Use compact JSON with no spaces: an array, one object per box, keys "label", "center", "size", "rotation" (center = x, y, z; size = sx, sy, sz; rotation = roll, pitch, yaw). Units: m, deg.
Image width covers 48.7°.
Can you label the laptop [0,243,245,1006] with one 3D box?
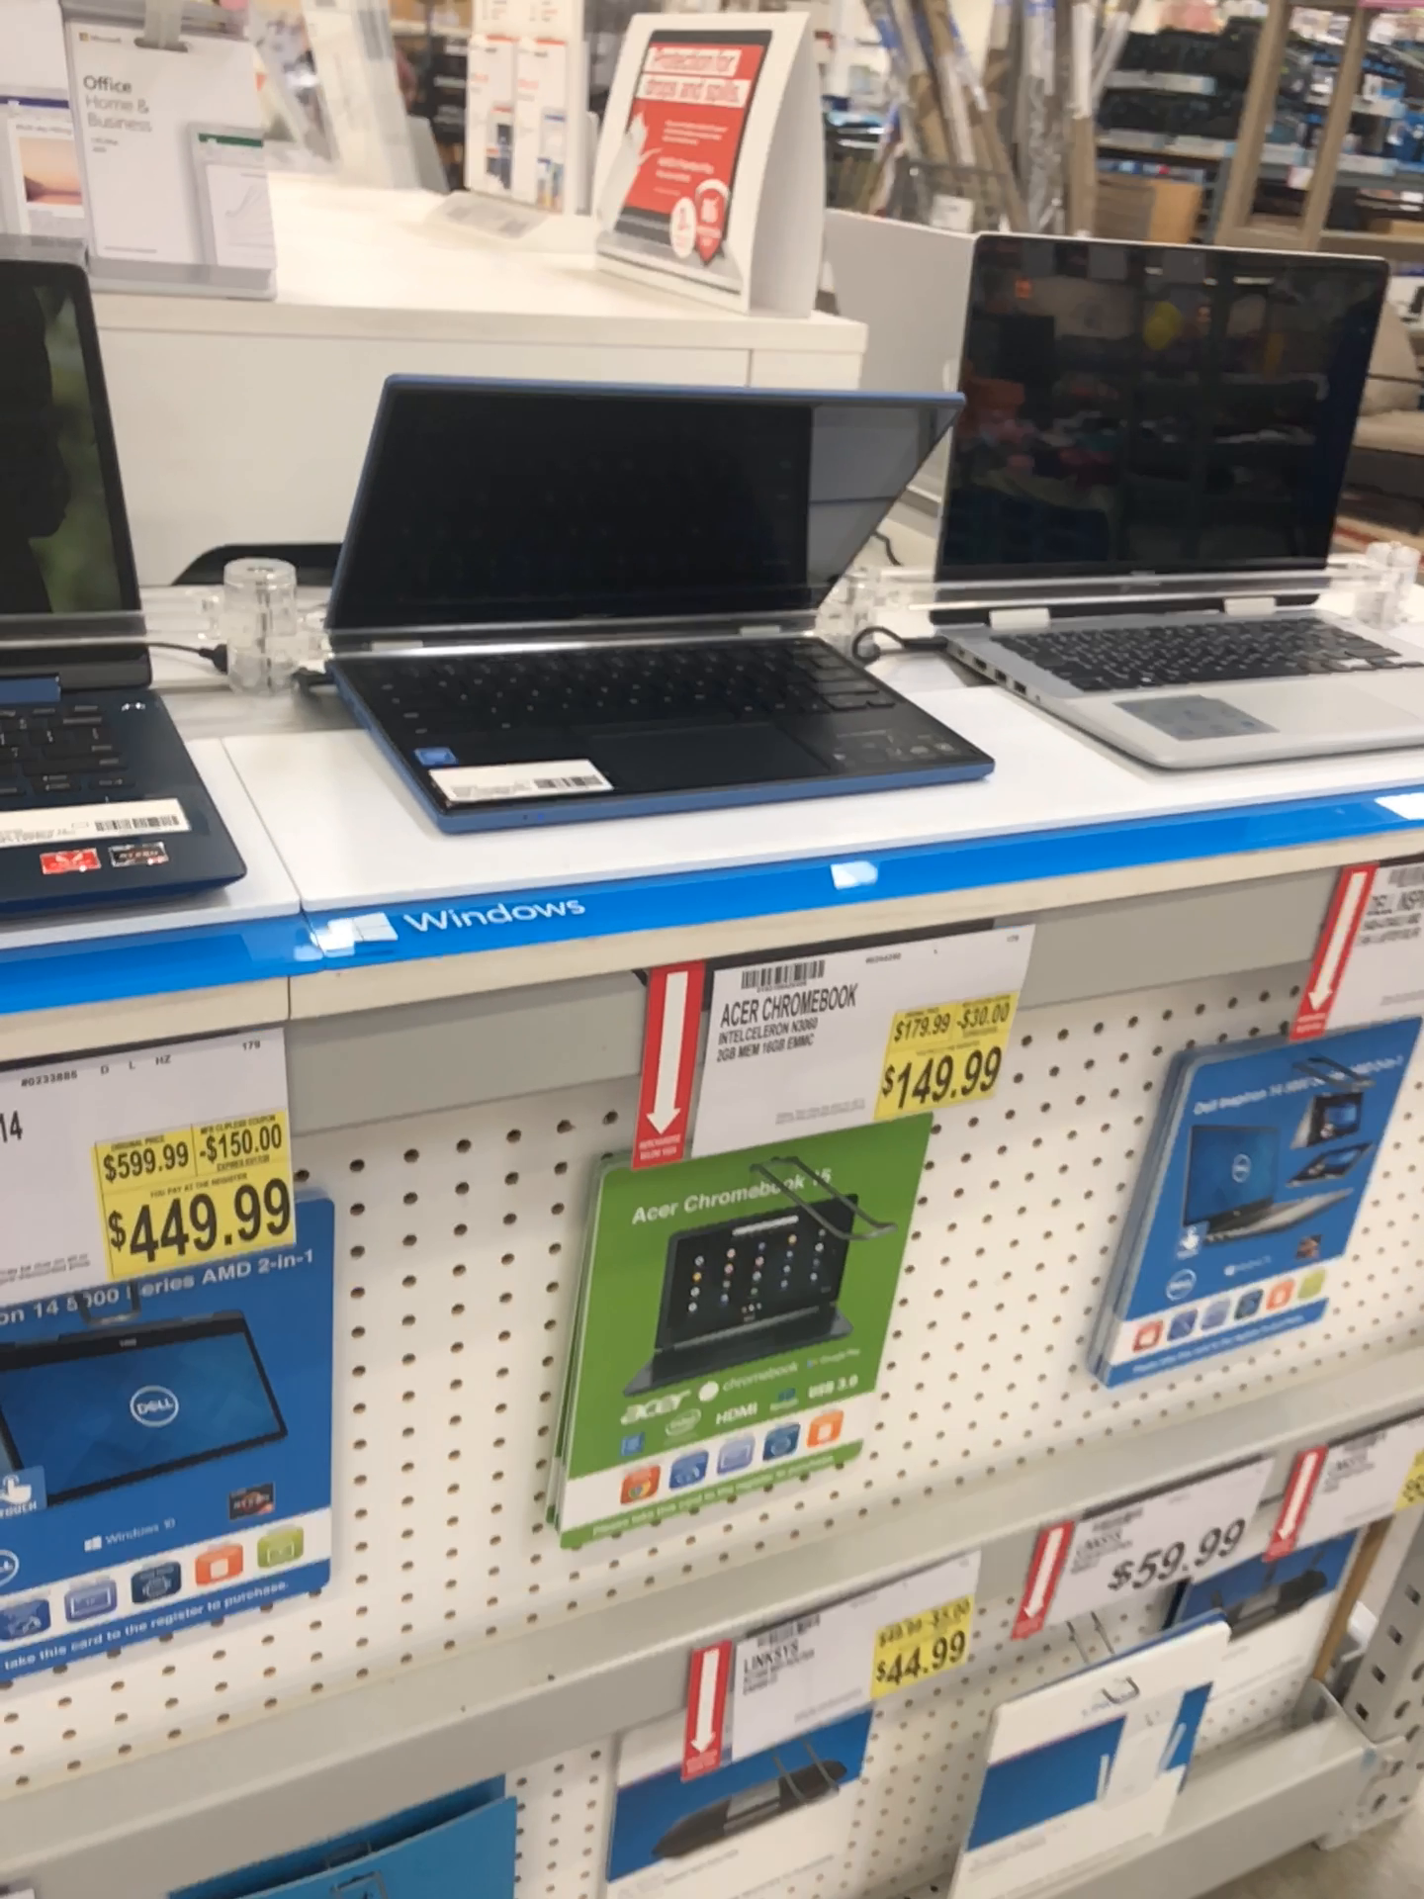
[{"label":"laptop","center":[-0.381,-0.161,0.625],"size":[0.305,0.169,0.369],"rotation":[-8,30,-26]}]

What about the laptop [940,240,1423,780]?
[{"label":"laptop","center":[0.354,-0.279,0.932],"size":[0.341,0.218,0.256],"rotation":[-9,33,-23]}]

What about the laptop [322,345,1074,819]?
[{"label":"laptop","center":[-0.017,-0.189,0.769],"size":[0.293,0.159,0.195],"rotation":[-8,31,-25]}]
